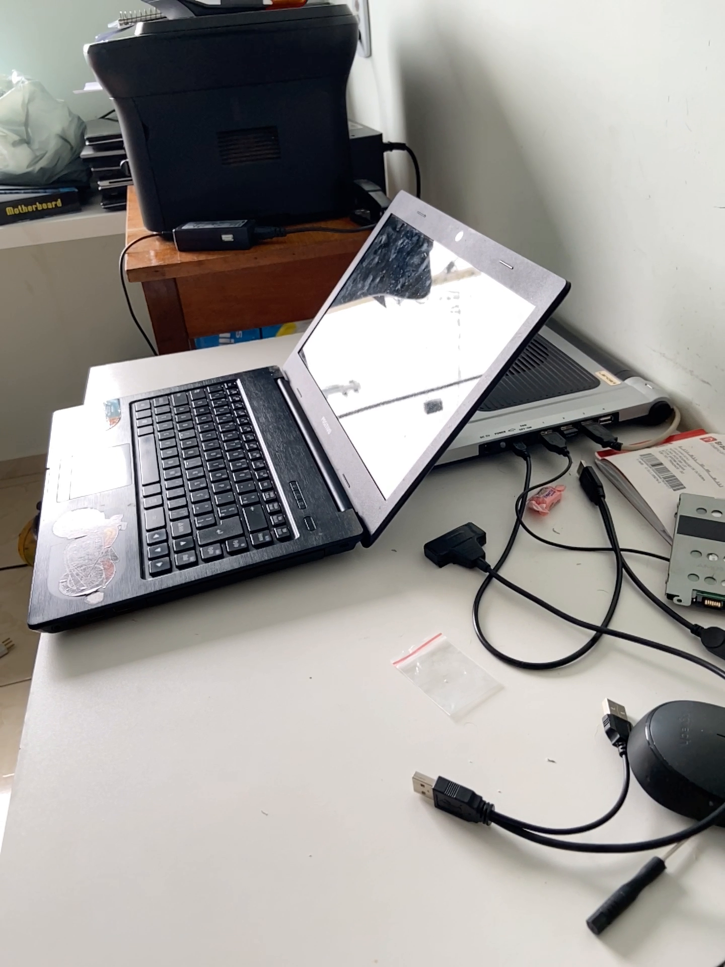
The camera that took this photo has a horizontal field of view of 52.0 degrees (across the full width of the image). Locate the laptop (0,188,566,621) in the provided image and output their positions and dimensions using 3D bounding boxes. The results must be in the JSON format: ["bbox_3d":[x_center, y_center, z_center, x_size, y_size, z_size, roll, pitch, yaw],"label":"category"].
[{"bbox_3d":[-0.093,-0.106,0.634,0.393,0.162,0.336,-14,33,-11],"label":"laptop"}]
